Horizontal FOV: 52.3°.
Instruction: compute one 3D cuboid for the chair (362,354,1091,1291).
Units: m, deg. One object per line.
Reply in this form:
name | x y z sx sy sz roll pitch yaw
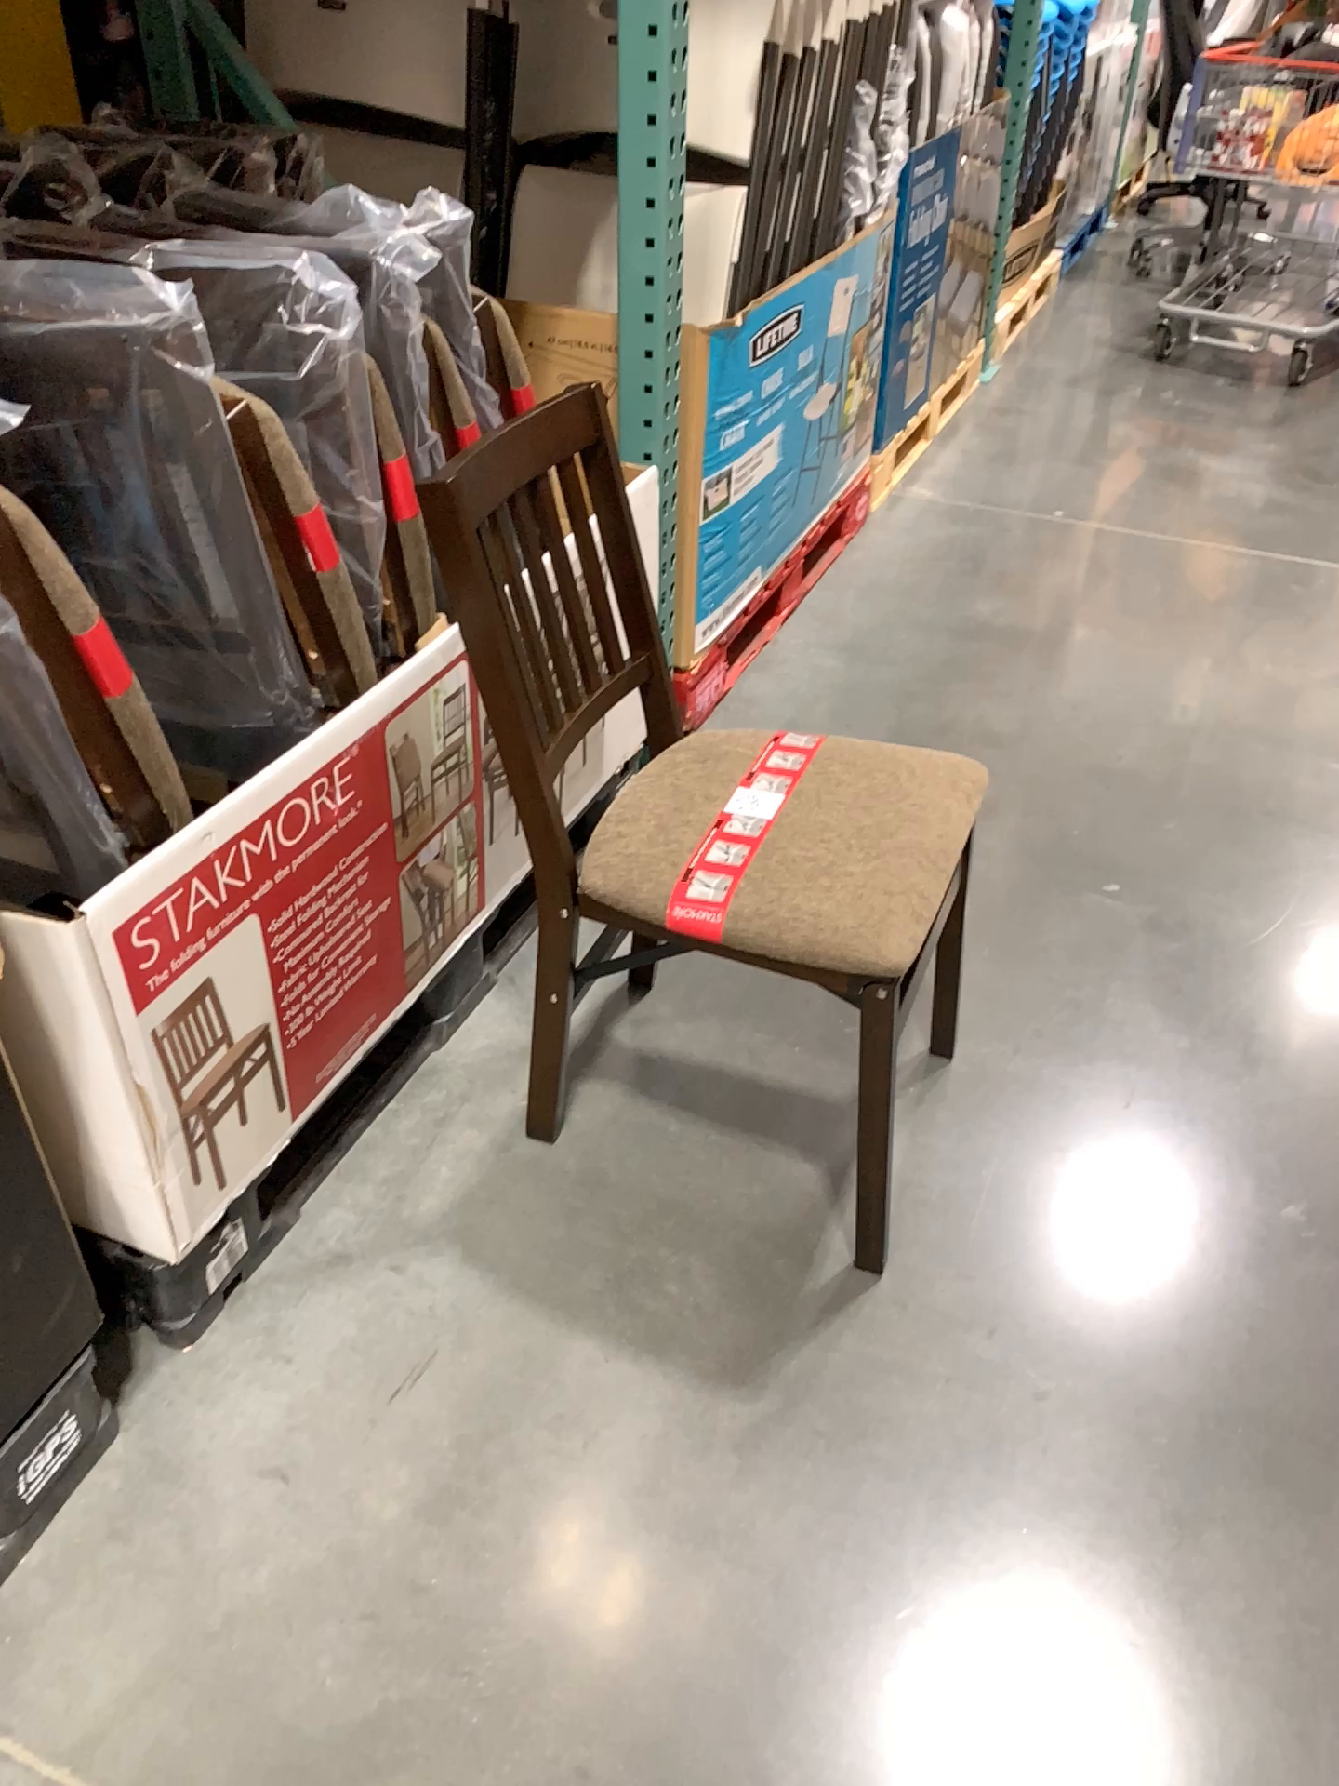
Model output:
chair | 0.063 -0.076 1.521 0.572 0.837 0.422 14 38 17
